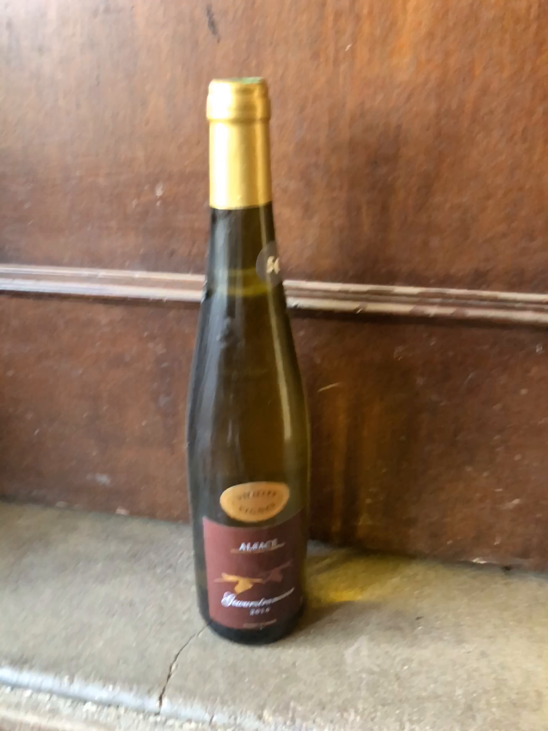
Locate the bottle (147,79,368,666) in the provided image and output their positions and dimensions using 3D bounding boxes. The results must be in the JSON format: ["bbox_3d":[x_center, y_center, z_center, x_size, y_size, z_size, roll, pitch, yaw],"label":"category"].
[{"bbox_3d":[-0.011,0.014,0.332,0.080,0.308,0.080,0,25,0],"label":"bottle"}]
